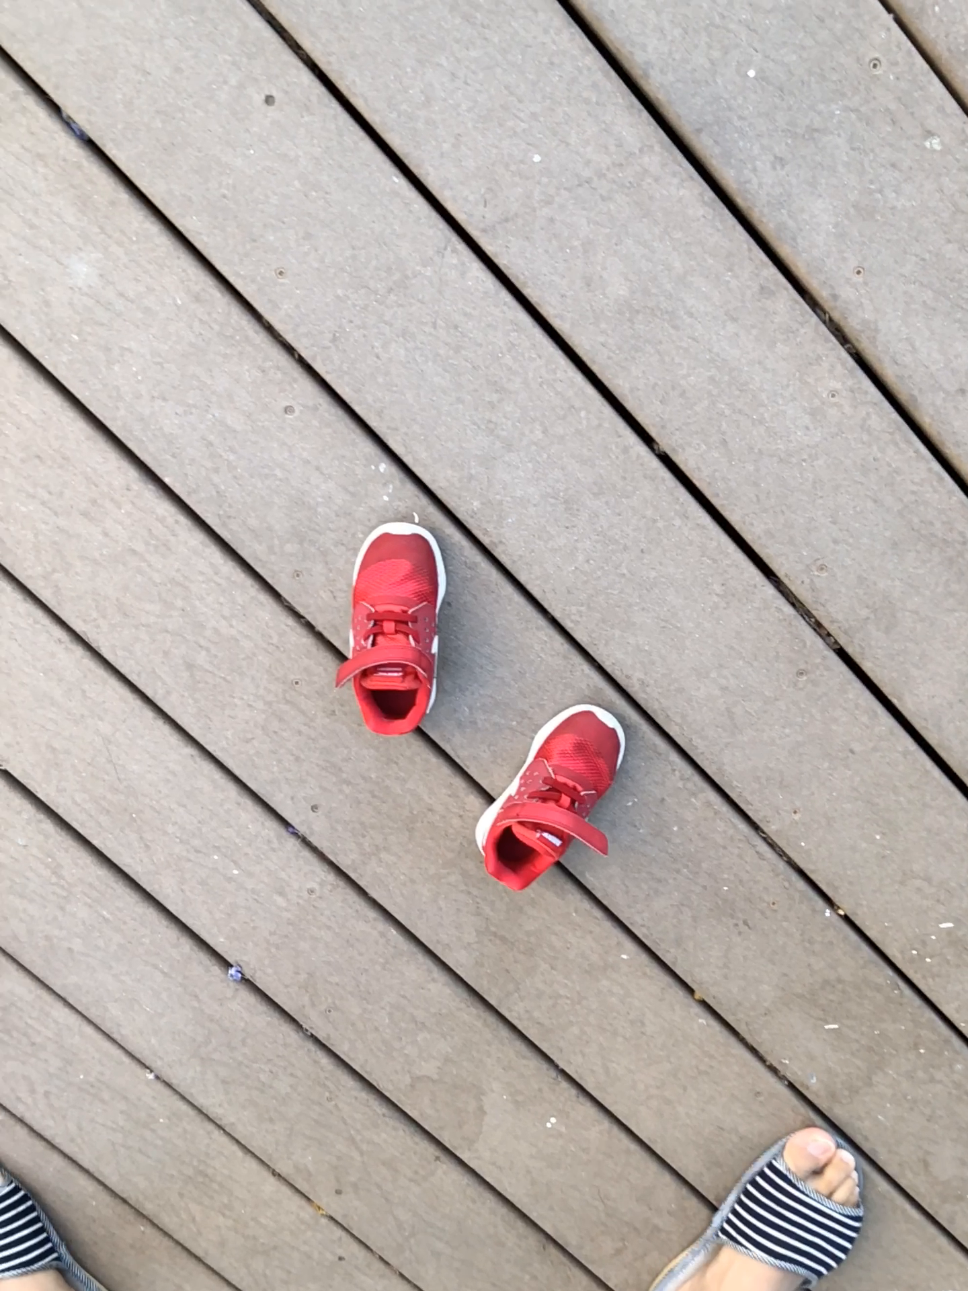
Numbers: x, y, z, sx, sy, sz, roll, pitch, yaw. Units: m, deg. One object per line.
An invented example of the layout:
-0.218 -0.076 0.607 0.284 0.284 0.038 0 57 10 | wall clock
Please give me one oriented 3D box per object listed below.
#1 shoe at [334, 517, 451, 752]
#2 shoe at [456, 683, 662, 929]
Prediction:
-0.067 -0.009 0.776 0.073 0.069 0.153 4 109 1 | shoe
0.055 0.123 0.814 0.069 0.069 0.165 32 107 -9 | shoe
